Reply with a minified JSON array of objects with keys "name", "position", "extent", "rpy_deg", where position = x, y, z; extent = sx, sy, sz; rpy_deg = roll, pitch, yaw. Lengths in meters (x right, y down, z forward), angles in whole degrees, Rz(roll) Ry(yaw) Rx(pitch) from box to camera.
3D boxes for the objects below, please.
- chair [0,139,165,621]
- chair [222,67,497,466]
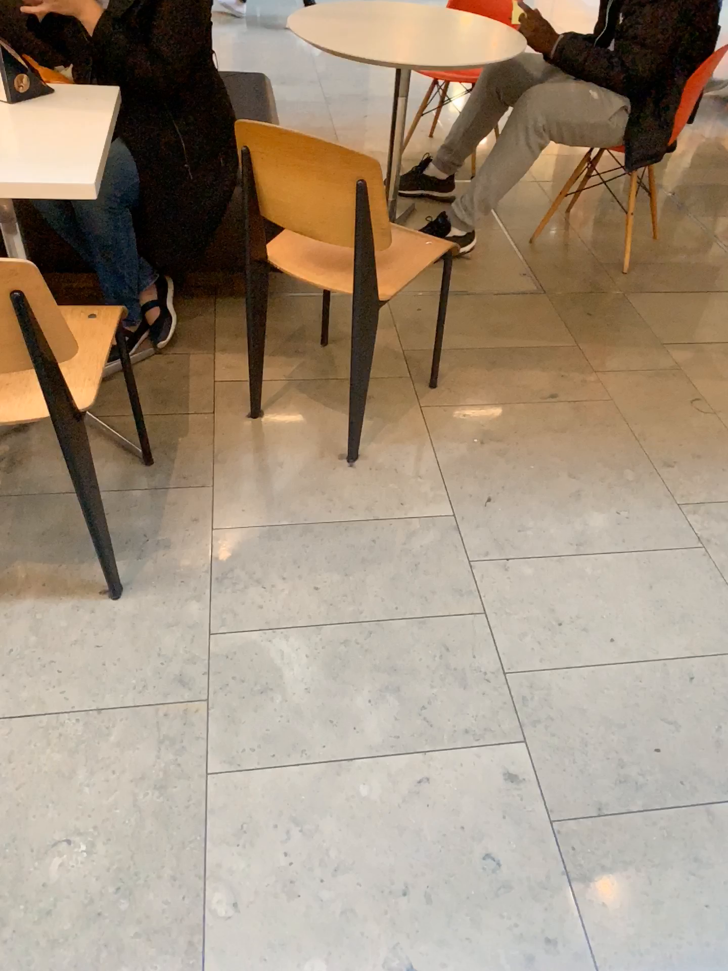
[{"name":"chair","position":[-0.671,-0.184,1.452],"extent":[0.427,0.767,0.499],"rpy_deg":[-2,43,-8]},{"name":"chair","position":[-0.018,-0.553,1.895],"extent":[0.418,0.767,0.498],"rpy_deg":[24,46,19]}]
